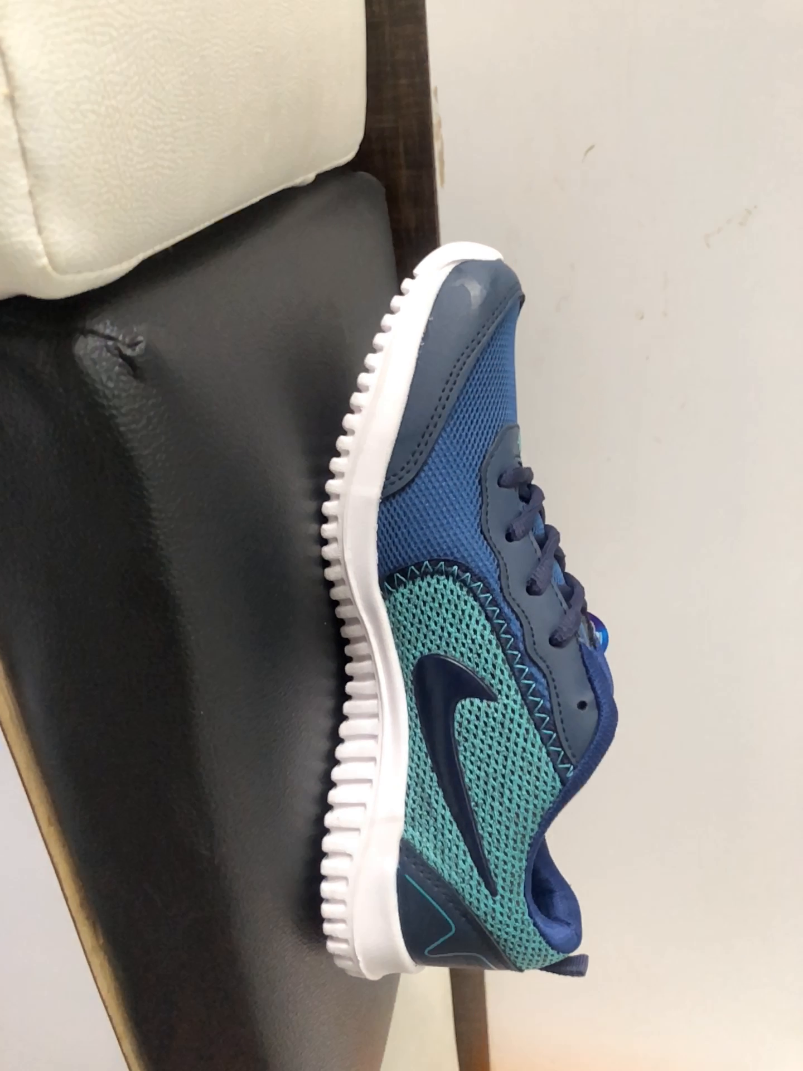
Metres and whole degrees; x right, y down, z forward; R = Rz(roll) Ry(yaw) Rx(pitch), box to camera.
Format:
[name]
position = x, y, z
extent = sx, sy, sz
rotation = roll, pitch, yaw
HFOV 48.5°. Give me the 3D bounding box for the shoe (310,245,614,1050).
[shoe]
position = 0.031, 0.036, 0.360
extent = 0.130, 0.100, 0.260
rotation = 0, 90, -80
